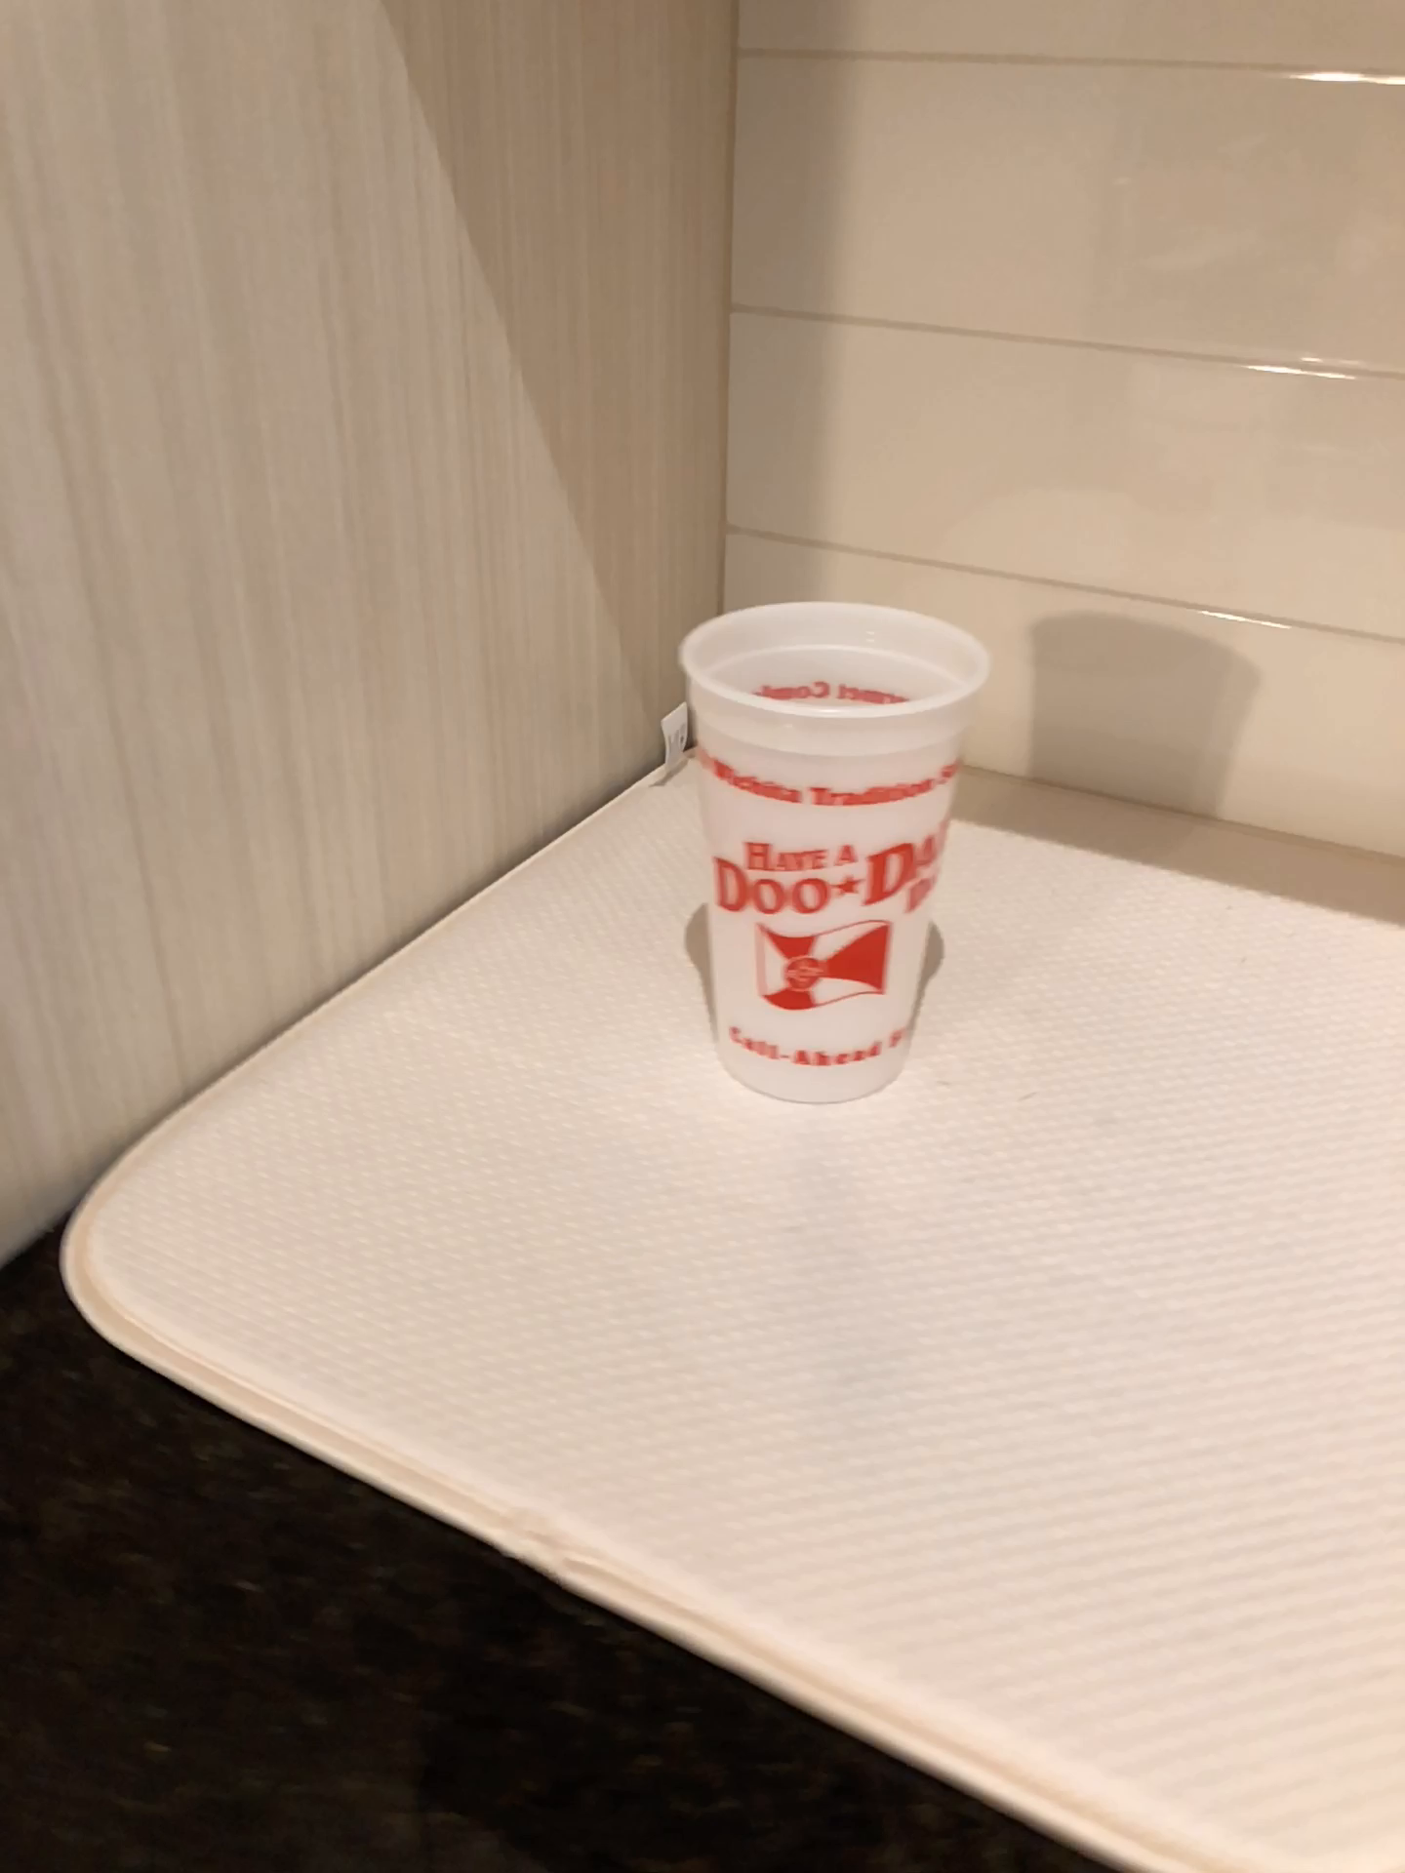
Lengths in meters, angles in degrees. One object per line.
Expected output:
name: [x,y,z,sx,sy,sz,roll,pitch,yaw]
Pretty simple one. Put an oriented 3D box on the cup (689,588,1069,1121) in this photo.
cup: [0.047,-0.028,0.500,0.100,0.139,0.101,1,30,0]
